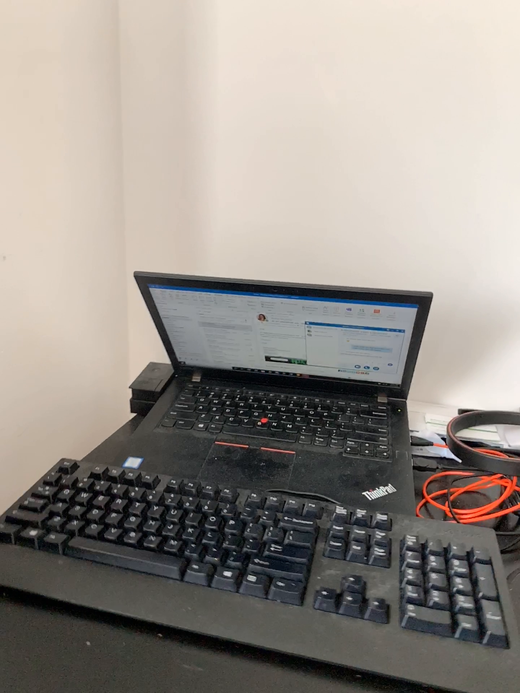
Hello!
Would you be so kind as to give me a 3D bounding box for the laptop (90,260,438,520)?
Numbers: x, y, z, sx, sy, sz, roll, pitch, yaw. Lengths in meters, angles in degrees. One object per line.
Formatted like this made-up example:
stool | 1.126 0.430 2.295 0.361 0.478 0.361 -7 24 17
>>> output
laptop | 0.016 0.025 0.634 0.334 0.172 0.237 5 22 10
